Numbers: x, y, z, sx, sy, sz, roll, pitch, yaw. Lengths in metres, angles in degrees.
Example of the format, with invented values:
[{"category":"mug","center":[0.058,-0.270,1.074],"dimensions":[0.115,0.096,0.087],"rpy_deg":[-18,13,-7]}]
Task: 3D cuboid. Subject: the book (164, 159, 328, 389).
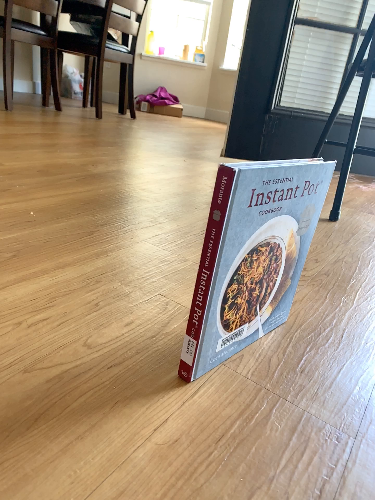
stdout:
[{"category":"book","center":[0.078,0.015,0.468],"dimensions":[0.030,0.239,0.231],"rpy_deg":[25,27,37]}]
